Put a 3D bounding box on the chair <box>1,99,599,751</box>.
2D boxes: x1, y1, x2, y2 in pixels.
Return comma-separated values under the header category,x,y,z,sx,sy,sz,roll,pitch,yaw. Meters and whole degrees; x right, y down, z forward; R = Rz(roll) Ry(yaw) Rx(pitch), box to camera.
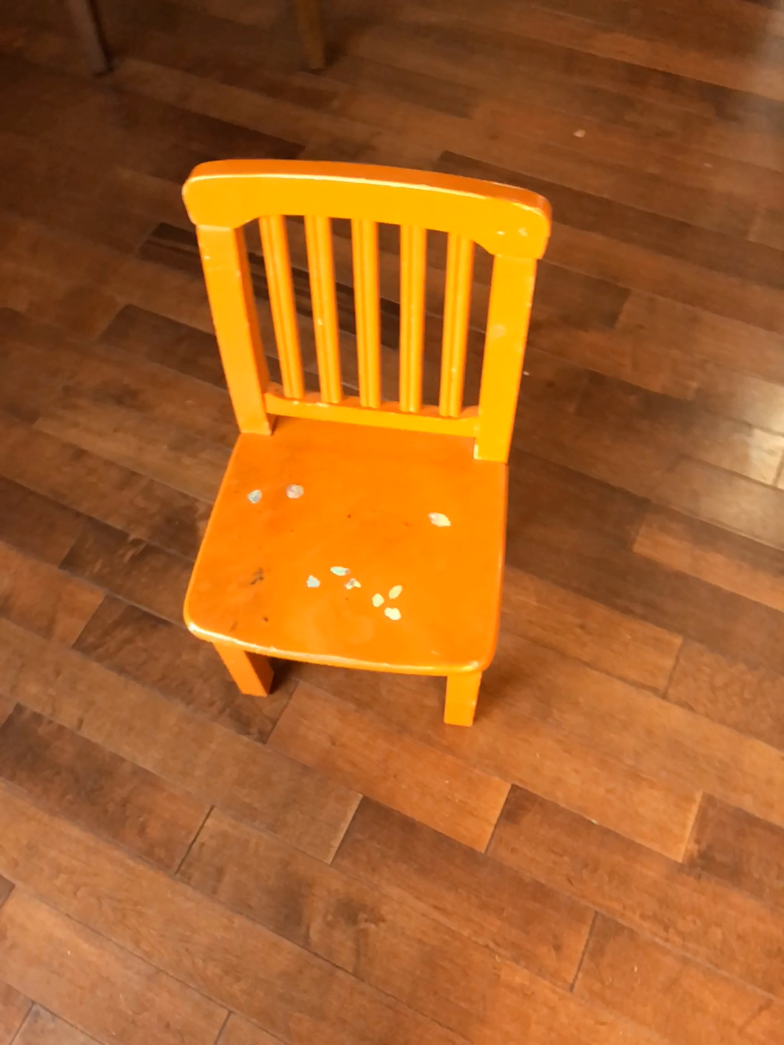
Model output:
category,x,y,z,sx,sy,sz,roll,pitch,yaw
chair,-0.033,-0.041,0.867,0.360,0.569,0.350,7,63,6
